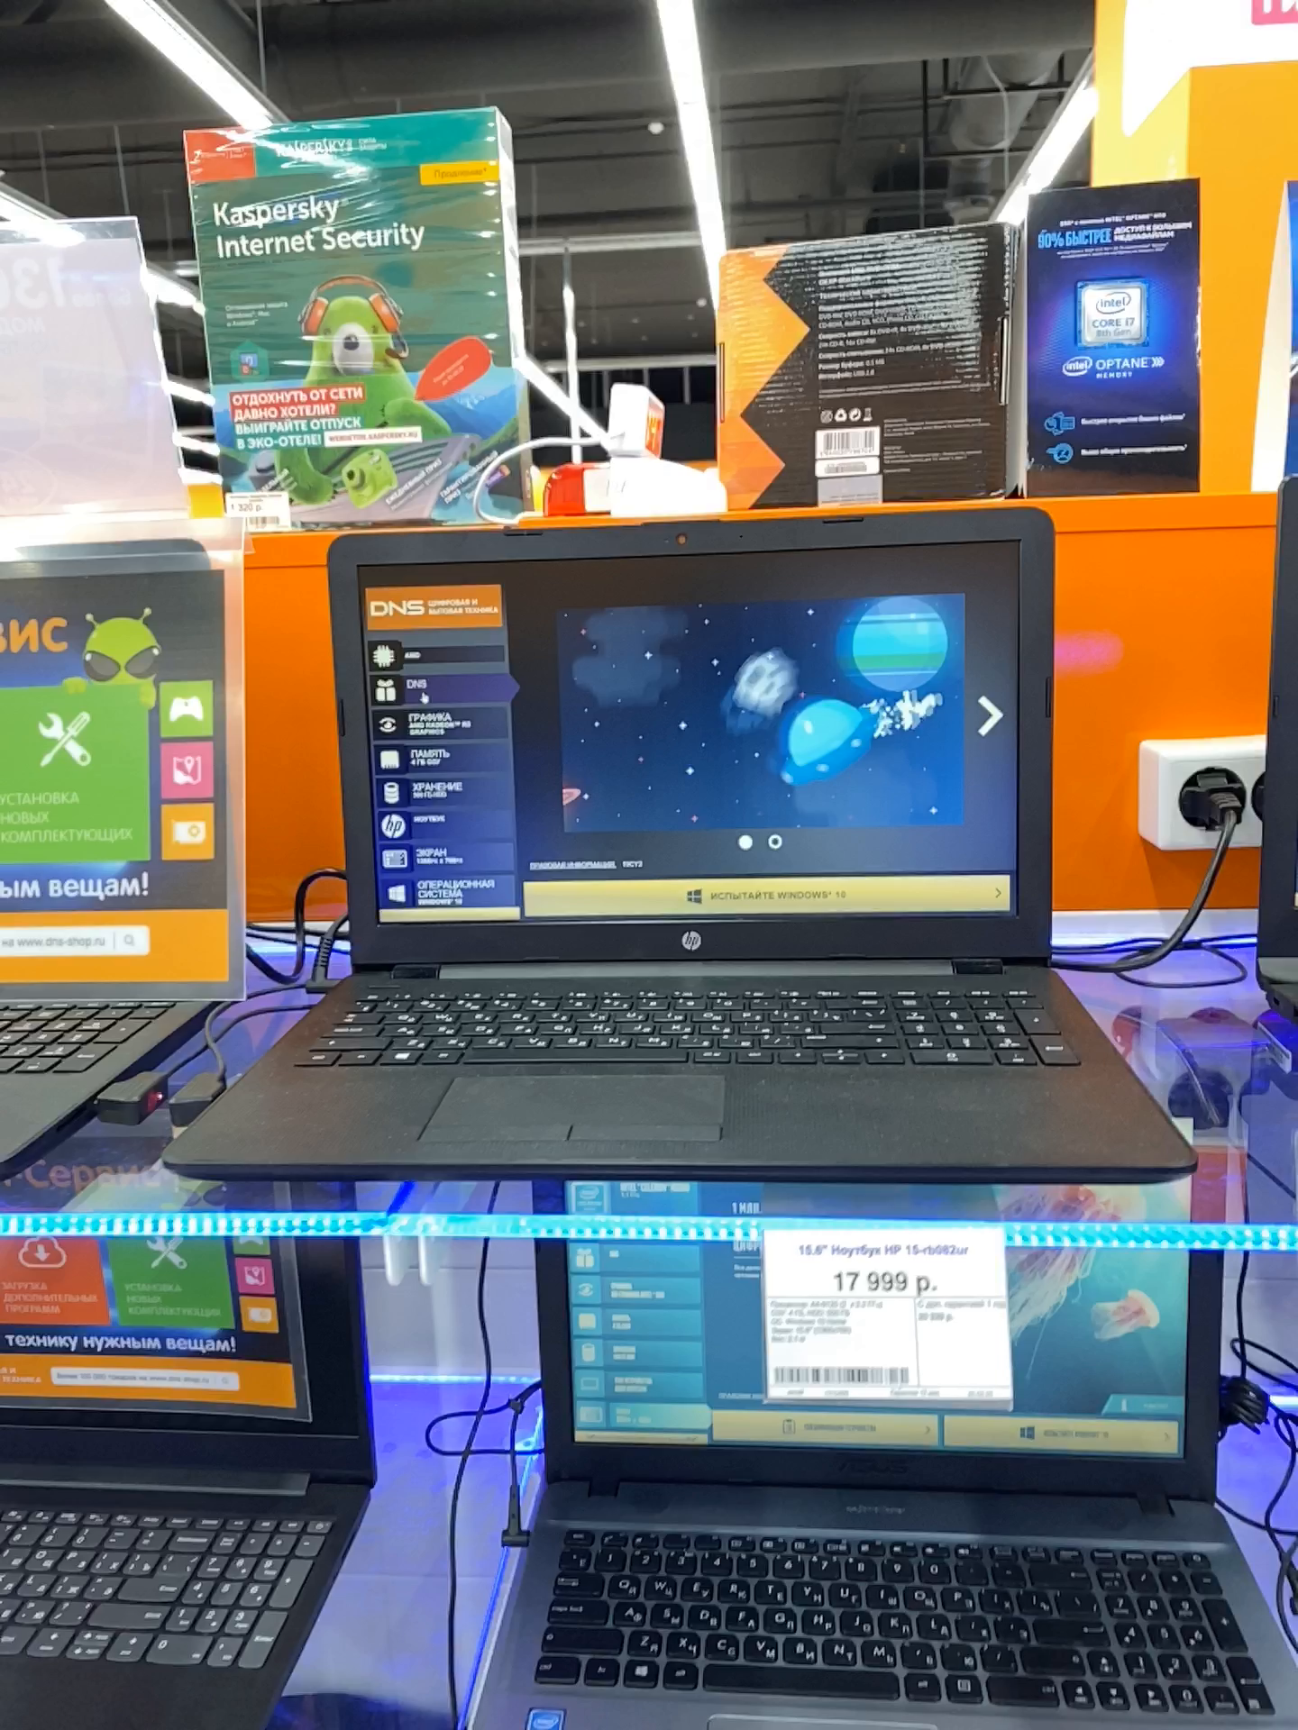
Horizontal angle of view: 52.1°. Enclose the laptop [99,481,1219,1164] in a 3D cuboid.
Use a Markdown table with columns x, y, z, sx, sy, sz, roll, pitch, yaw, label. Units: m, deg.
| x | y | z | sx | sy | sz | roll | pitch | yaw | label |
| --- | --- | --- | --- | --- | --- | --- | --- | --- | --- |
| 0.013 | -0.035 | 0.589 | 0.369 | 0.231 | 0.272 | -1 | 11 | 4 | laptop |
